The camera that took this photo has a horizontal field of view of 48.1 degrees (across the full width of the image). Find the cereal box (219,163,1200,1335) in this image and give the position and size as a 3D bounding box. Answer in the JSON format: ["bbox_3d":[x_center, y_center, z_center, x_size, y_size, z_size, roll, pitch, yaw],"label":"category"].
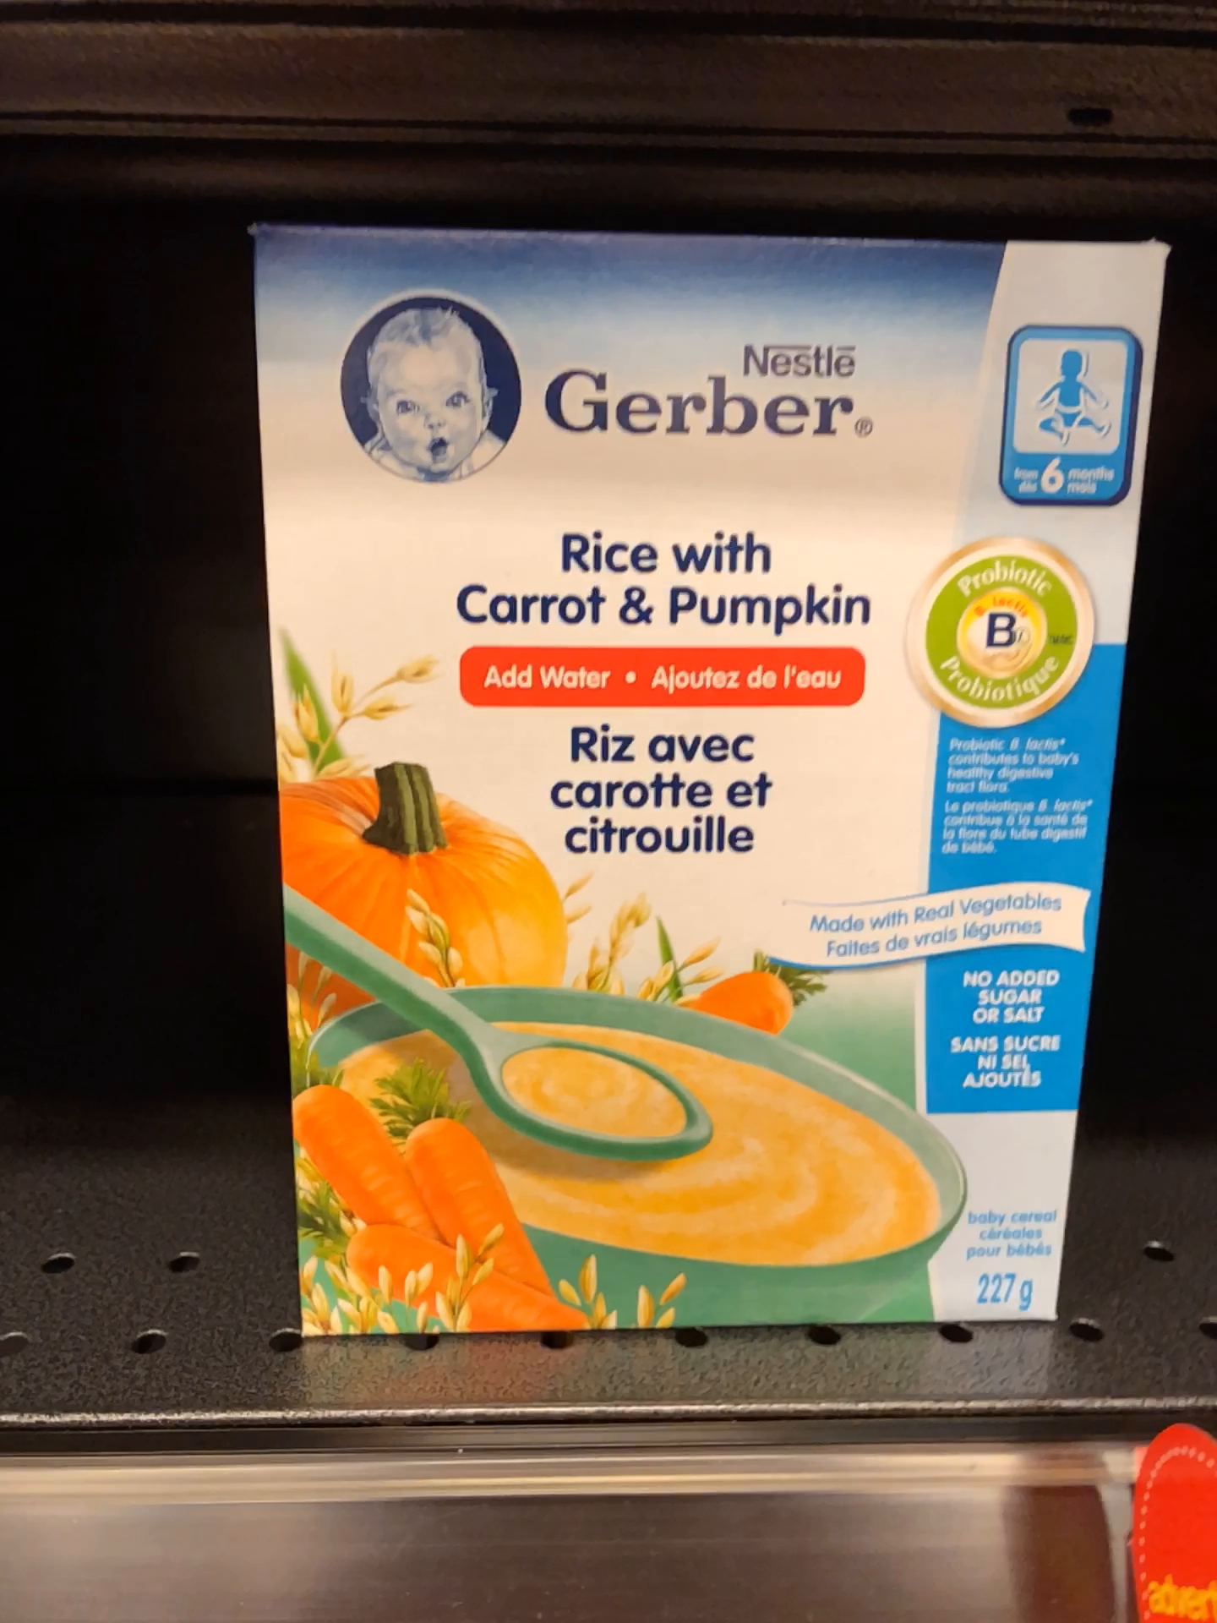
[{"bbox_3d":[0.015,-0.005,0.251,0.150,0.199,0.040,0,14,-3],"label":"cereal box"}]
